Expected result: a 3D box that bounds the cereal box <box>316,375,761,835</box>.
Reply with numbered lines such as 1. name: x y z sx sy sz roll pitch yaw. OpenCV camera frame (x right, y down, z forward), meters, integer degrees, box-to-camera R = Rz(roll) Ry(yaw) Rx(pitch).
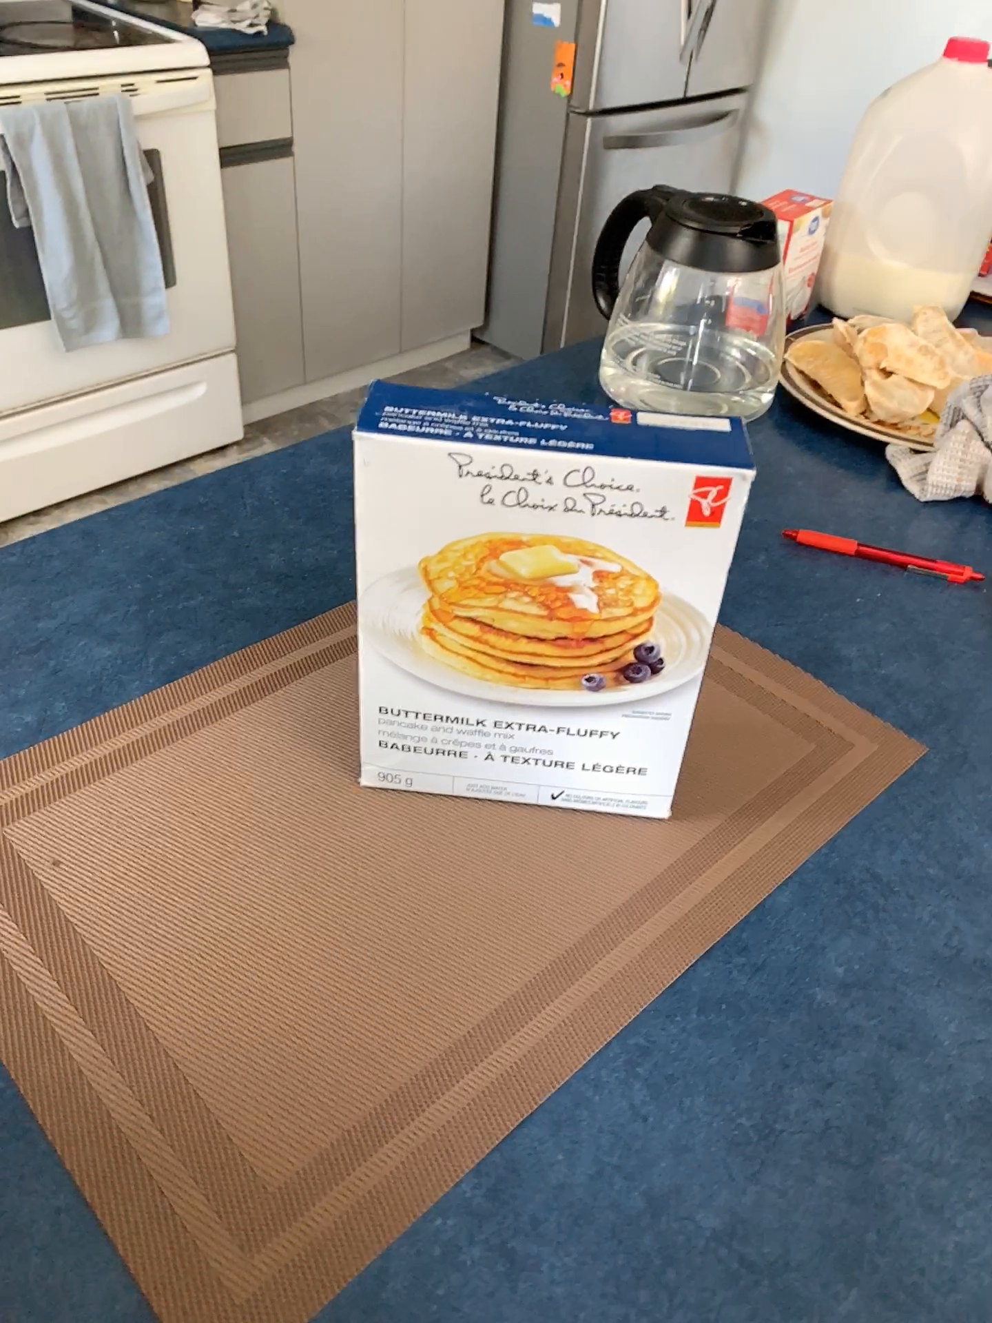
1. cereal box: 0.010 -0.016 0.471 0.170 0.208 0.050 5 39 0
